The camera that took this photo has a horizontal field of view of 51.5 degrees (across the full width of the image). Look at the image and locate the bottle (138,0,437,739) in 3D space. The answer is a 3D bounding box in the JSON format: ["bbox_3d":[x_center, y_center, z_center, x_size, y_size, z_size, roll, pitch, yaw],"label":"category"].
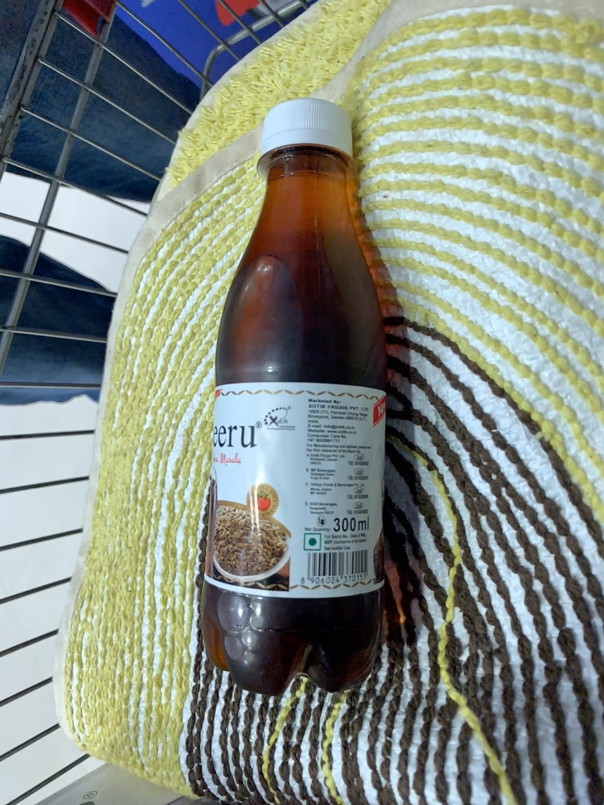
[{"bbox_3d":[-0.003,-0.009,0.193,0.060,0.060,0.180,-2,84,46],"label":"bottle"}]
